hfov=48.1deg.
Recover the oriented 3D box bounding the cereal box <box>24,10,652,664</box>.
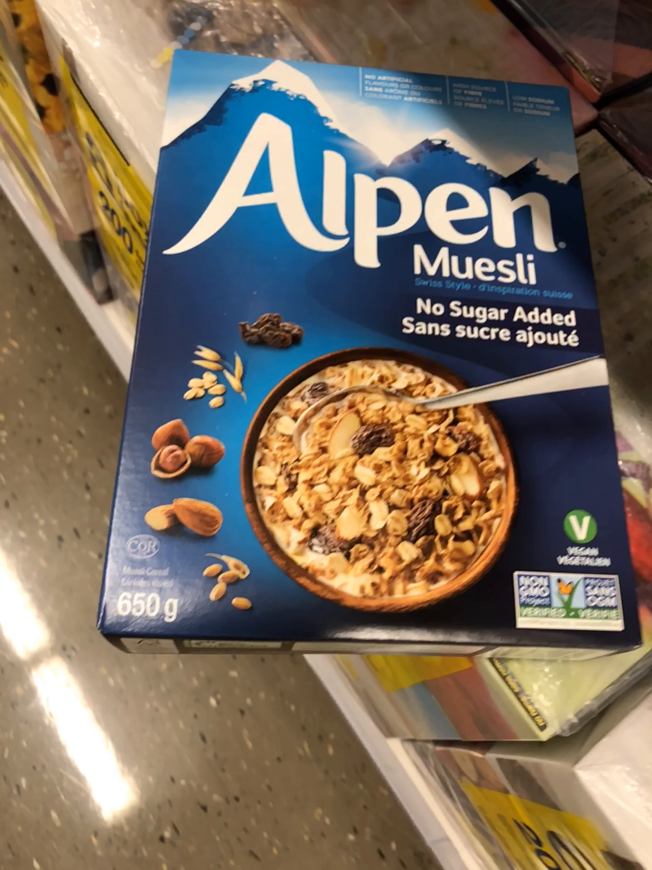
[{"bbox_3d":[0.011,-0.044,0.289,0.200,0.050,0.250,3,69,-6],"label":"cereal box"}]
